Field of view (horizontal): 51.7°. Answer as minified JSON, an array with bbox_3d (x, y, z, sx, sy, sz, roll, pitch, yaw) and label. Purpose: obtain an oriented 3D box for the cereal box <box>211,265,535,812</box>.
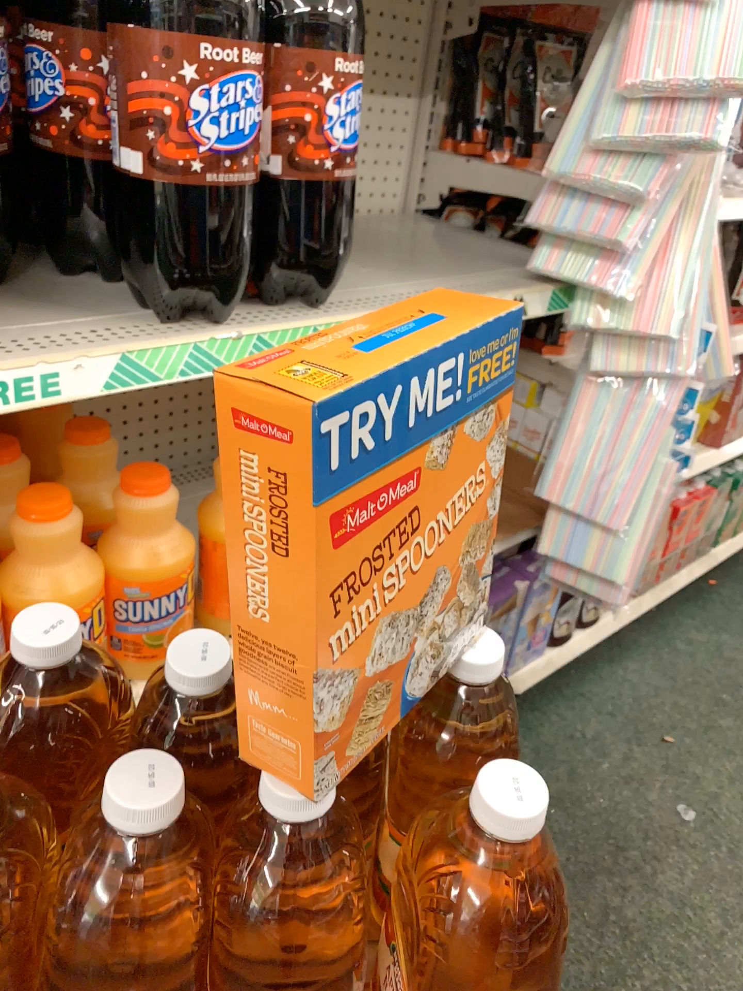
[{"bbox_3d":[0.008,0.011,0.388,0.060,0.219,0.171,18,30,29],"label":"cereal box"}]
